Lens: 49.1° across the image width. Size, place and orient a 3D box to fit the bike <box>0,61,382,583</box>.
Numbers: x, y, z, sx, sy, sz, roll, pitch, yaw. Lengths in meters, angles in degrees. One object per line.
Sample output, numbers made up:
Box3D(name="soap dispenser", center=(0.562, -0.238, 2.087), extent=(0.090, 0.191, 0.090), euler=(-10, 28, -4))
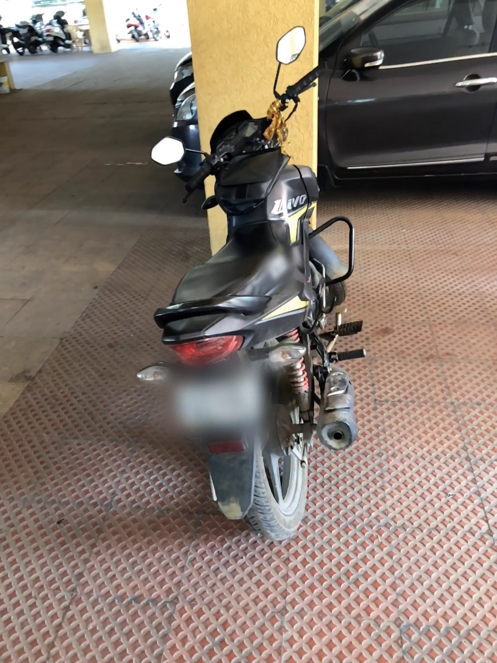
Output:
Box3D(name="bike", center=(0.014, -0.220, 1.896), extent=(0.716, 1.088, 1.629), euler=(1, 32, 9))
